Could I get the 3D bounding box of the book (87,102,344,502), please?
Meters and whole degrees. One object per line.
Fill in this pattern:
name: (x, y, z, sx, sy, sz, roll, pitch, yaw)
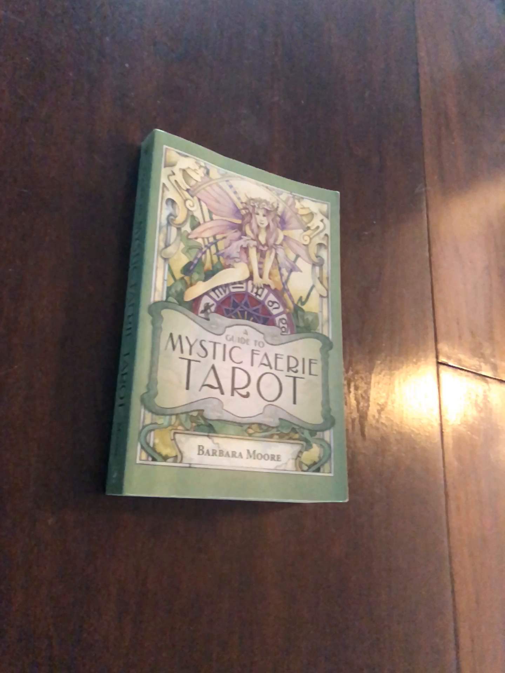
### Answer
book: (-0.011, -0.014, 0.330, 0.140, 0.032, 0.208, 13, 70, -31)
